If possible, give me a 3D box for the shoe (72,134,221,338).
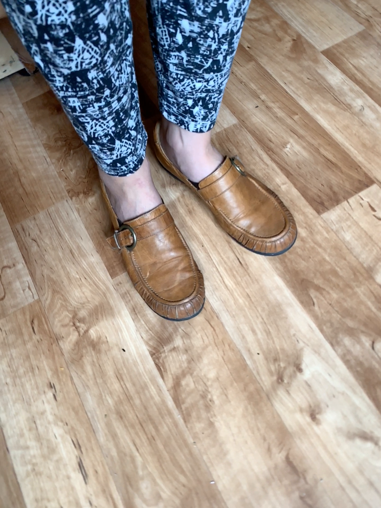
[{"bbox_3d":[-0.047,-0.022,0.408,0.080,0.070,0.190,-25,65,-6],"label":"shoe"}]

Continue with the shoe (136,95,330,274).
[{"bbox_3d":[0.040,-0.079,0.422,0.190,0.070,0.080,41,75,21],"label":"shoe"}]
